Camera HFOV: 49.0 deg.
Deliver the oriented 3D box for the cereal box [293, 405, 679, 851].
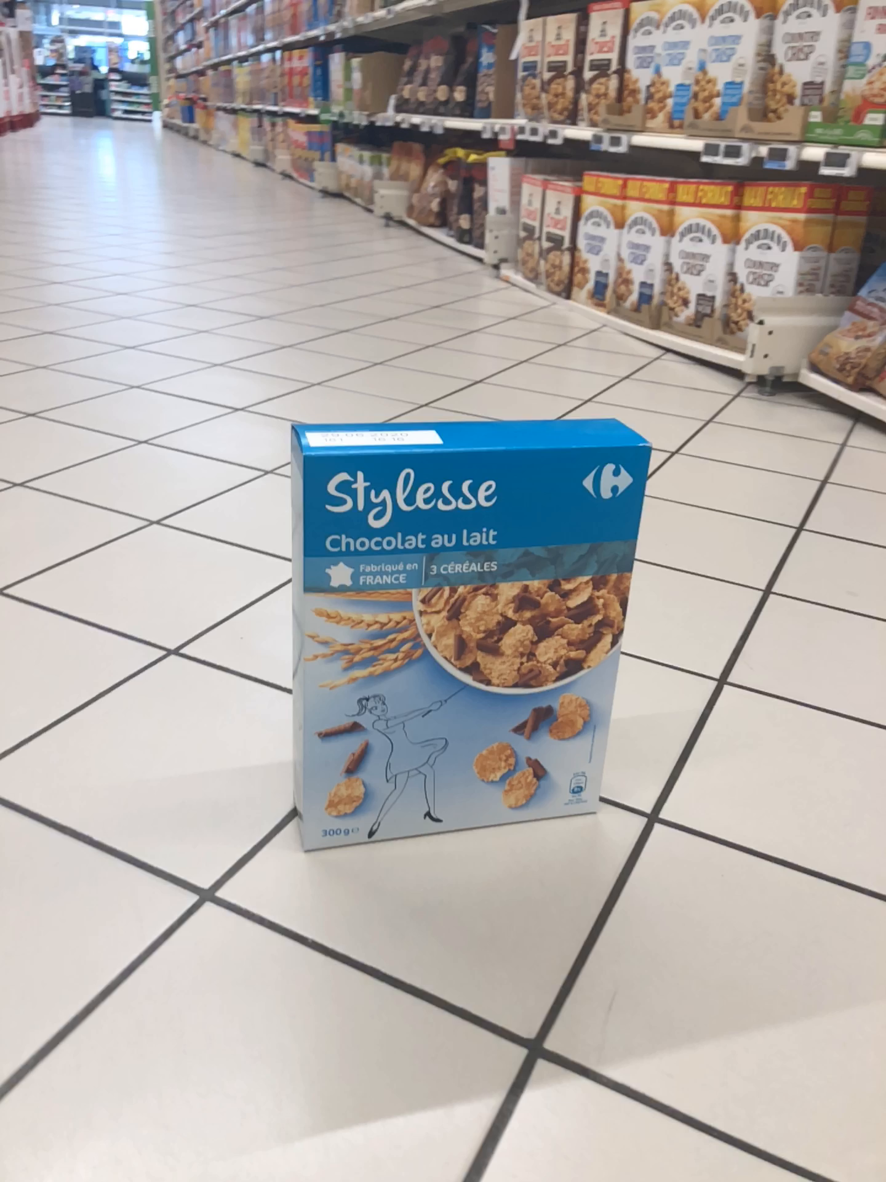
[{"bbox_3d":[0.015,0.021,0.584,0.200,0.249,0.070,-4,26,-16],"label":"cereal box"}]
